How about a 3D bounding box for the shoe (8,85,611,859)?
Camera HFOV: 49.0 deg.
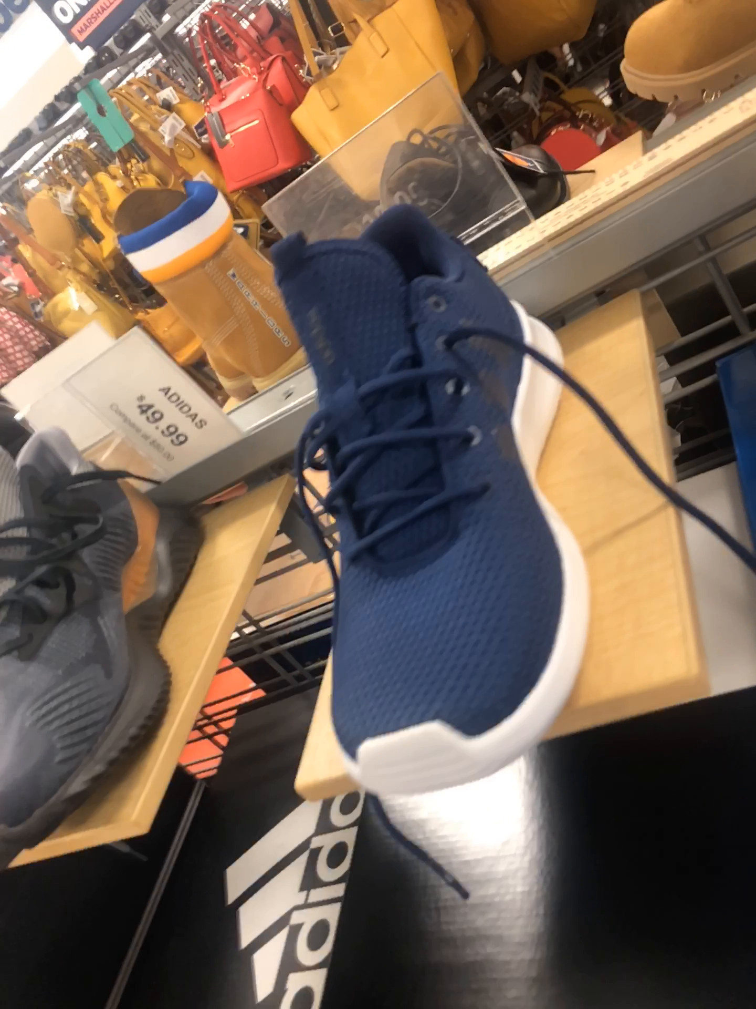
[{"bbox_3d":[0.011,-0.039,0.353,0.112,0.145,0.305,-24,30,31],"label":"shoe"}]
